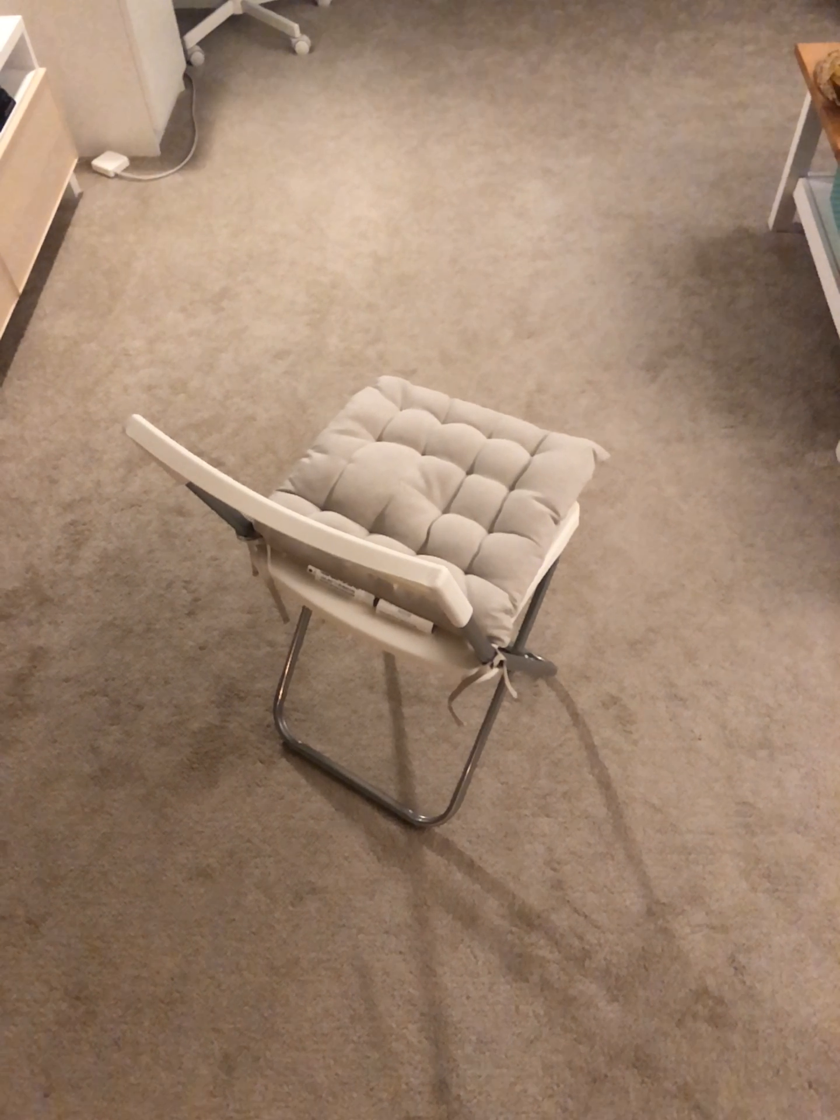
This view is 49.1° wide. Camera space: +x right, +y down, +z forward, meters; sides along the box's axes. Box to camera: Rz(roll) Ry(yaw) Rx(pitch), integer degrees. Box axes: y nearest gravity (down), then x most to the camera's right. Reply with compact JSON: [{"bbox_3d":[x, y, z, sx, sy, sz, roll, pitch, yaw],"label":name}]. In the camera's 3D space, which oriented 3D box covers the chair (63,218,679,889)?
[{"bbox_3d":[-0.030,0.007,1.347,0.510,0.667,0.542,26,58,20],"label":"chair"}]
